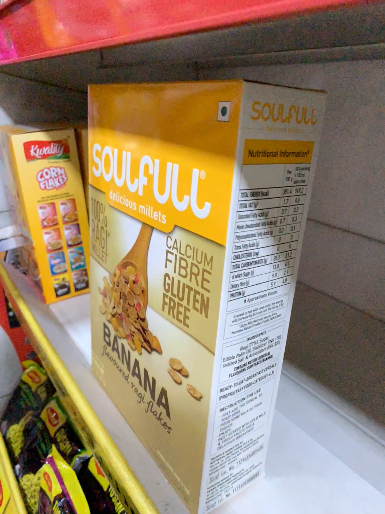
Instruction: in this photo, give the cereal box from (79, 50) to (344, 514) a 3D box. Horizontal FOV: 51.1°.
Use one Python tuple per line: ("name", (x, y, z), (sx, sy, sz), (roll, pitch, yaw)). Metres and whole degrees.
("cereal box", (-0.013, 0.007, 0.256), (0.060, 0.229, 0.161), (-8, 22, -34))
